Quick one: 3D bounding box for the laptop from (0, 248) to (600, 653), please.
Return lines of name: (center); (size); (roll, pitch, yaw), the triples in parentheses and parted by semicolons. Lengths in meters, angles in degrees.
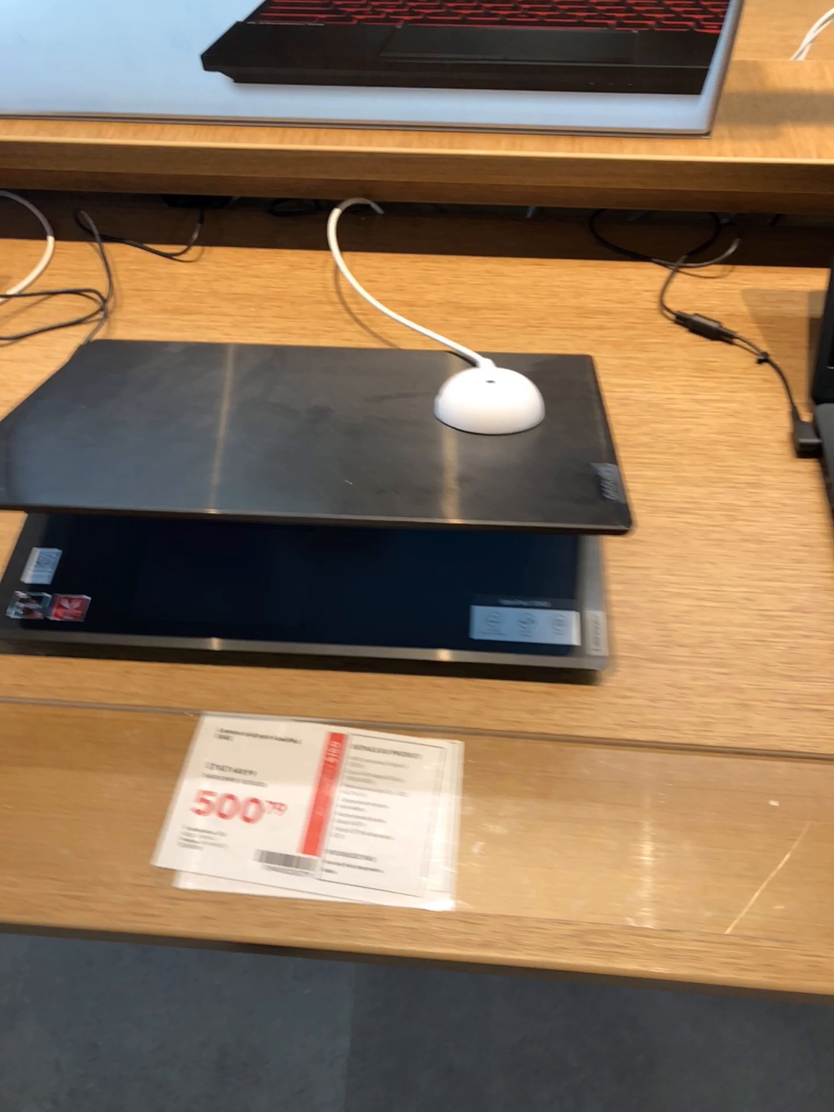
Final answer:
laptop: (-0.067, -0.068, 0.540); (0.330, 0.083, 0.224); (2, 56, 1)
